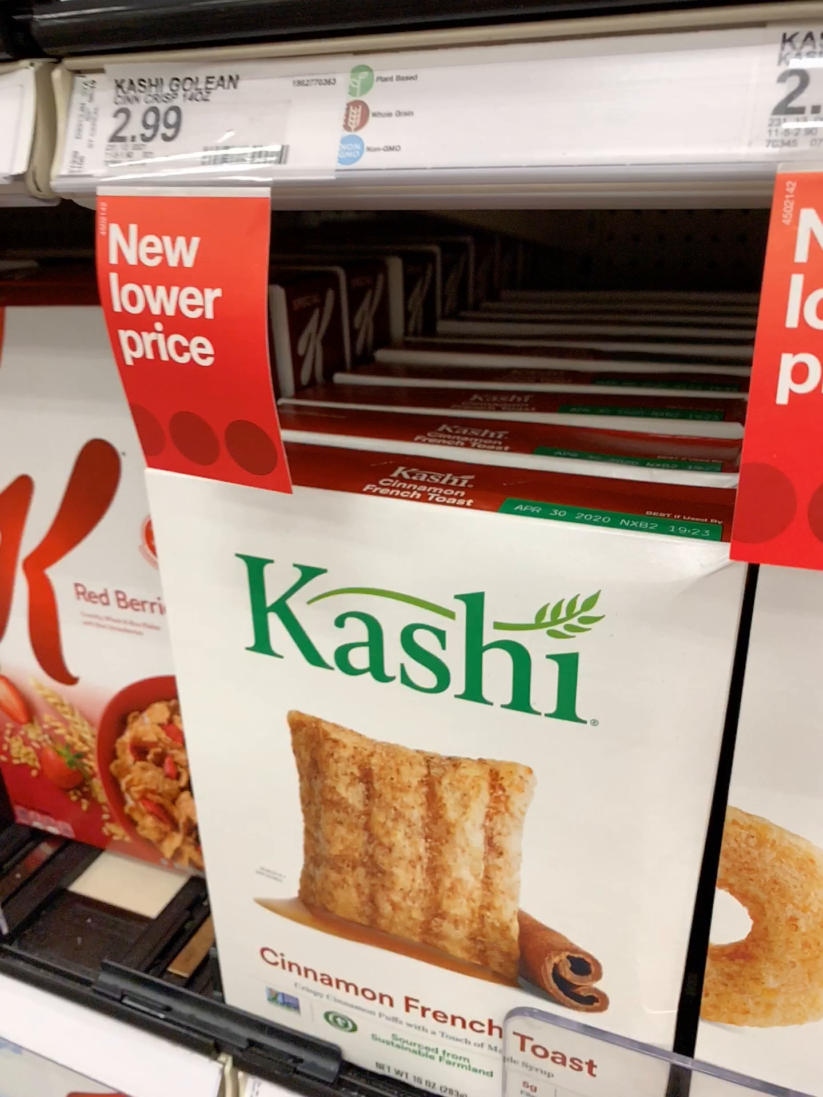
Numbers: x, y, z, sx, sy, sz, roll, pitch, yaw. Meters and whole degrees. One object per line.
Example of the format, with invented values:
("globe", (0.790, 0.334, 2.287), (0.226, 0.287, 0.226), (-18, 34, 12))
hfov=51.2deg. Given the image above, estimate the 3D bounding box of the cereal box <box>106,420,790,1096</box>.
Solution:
("cereal box", (0.010, 0.099, 0.327), (0.210, 0.269, 0.060), (8, 25, 22))
